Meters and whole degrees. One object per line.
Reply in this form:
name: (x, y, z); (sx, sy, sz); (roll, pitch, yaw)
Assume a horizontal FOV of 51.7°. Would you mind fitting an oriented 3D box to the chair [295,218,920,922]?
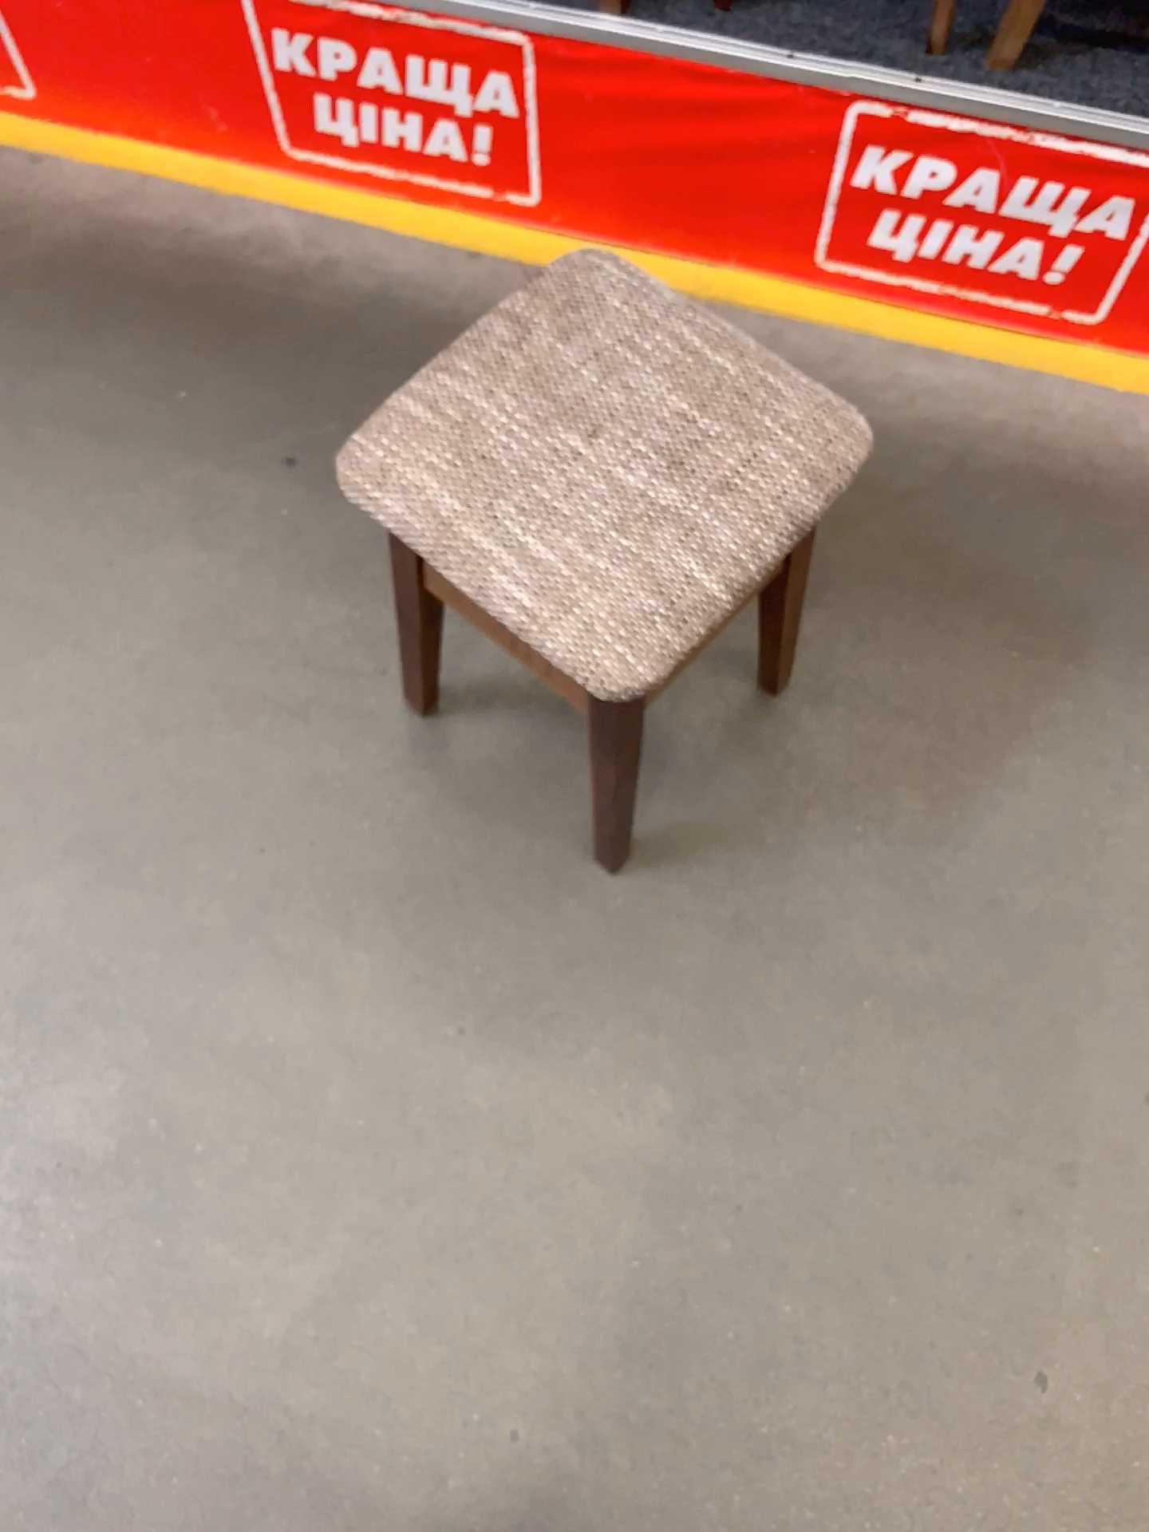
chair: (0.028, -0.155, 1.156); (0.340, 0.479, 0.360); (39, 72, 15)
